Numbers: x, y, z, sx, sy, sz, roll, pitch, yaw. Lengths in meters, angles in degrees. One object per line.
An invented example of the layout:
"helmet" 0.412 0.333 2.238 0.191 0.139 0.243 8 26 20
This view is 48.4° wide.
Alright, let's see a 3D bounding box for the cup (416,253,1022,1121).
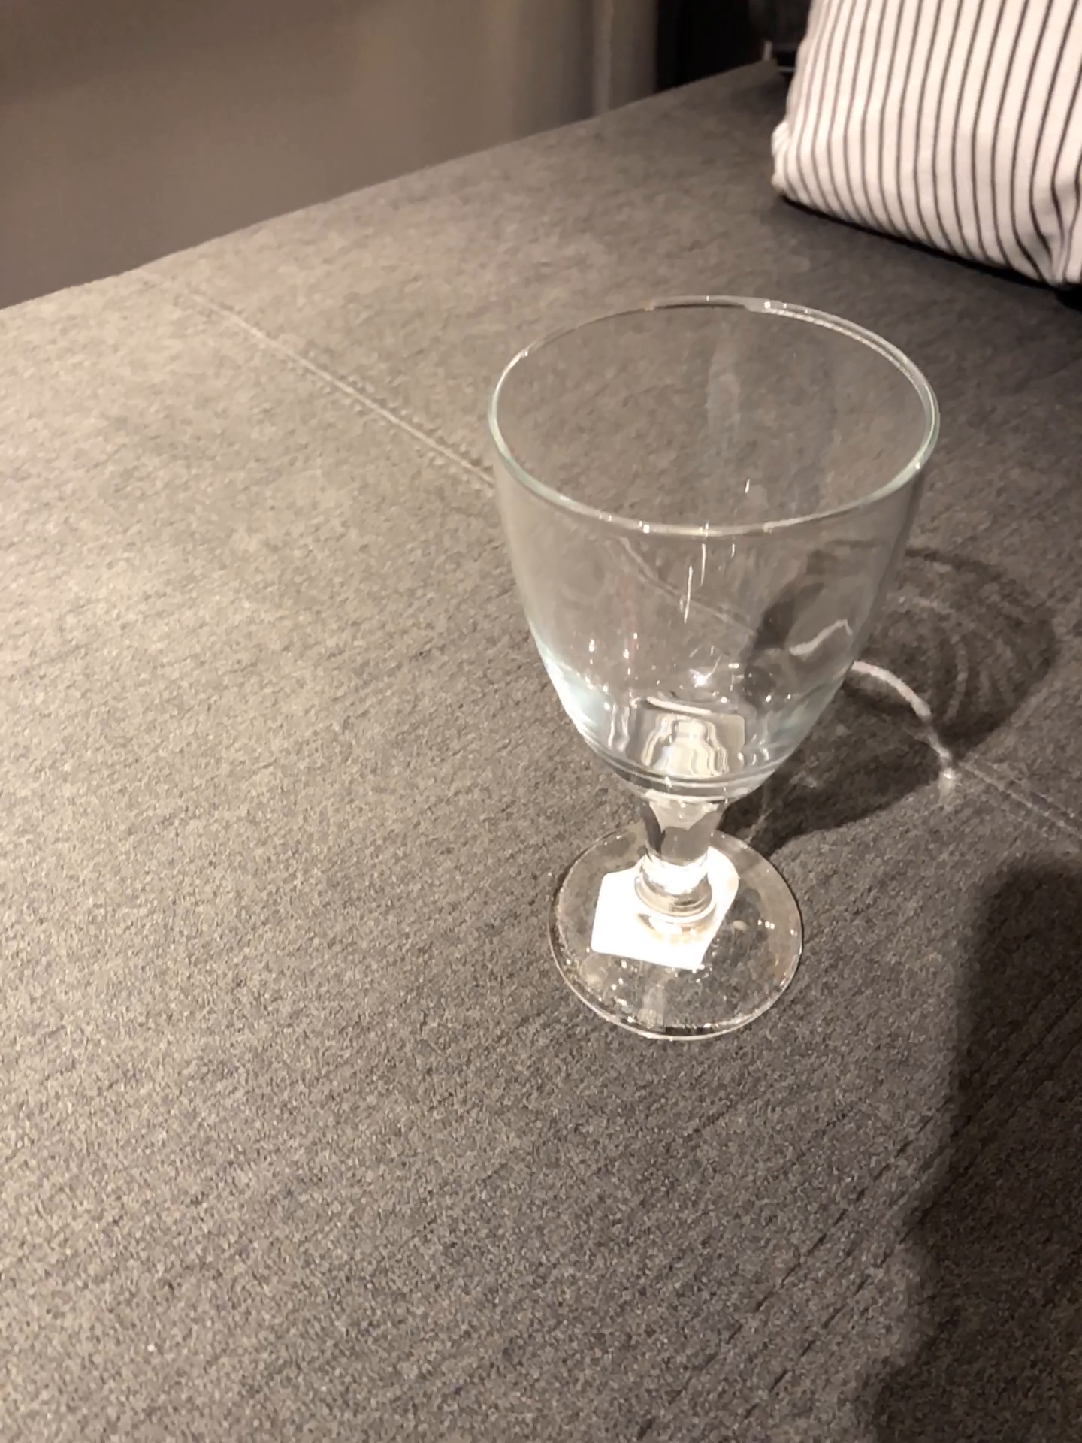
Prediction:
"cup" 0.039 -0.002 0.284 0.090 0.169 0.090 -1 44 1
